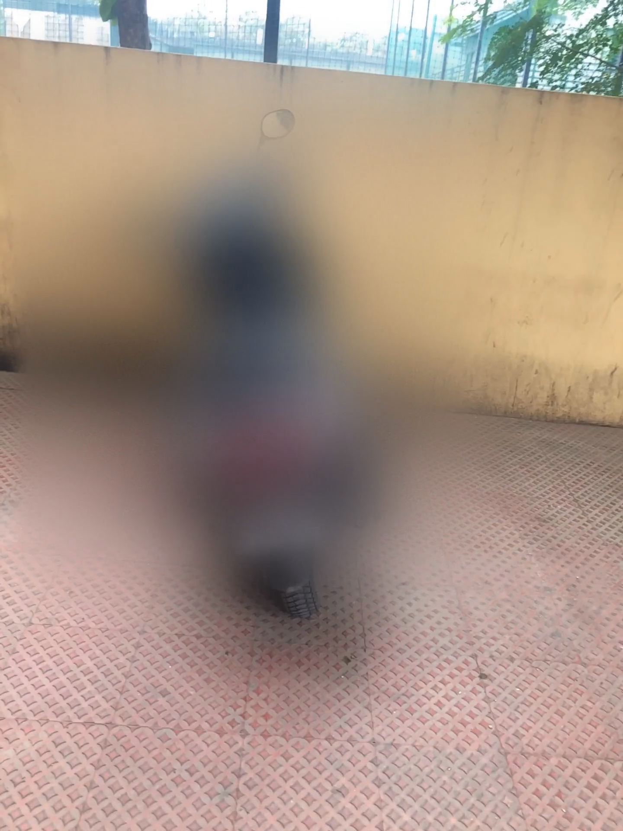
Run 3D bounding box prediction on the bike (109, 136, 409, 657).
[{"bbox_3d":[-0.192,-0.223,2.206,0.578,1.140,1.489,3,24,-6],"label":"bike"}]
